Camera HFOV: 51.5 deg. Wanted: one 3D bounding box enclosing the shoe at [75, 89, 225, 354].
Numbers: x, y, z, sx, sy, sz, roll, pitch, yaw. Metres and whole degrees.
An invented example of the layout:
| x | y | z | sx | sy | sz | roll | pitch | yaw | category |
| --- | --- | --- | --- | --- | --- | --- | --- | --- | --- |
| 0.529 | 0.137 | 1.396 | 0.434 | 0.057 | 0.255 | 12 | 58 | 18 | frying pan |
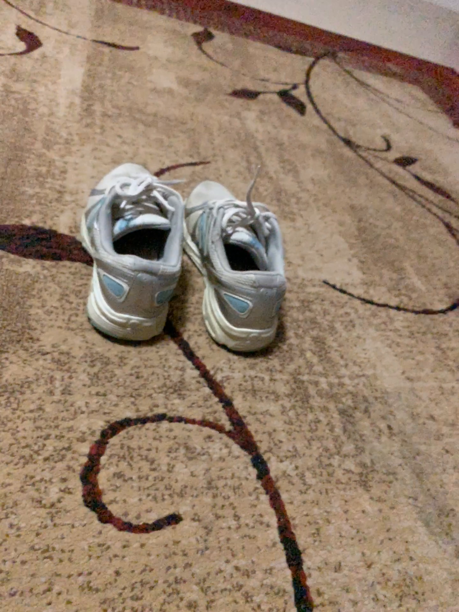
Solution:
| x | y | z | sx | sy | sz | roll | pitch | yaw | category |
| --- | --- | --- | --- | --- | --- | --- | --- | --- | --- |
| -0.097 | -0.101 | 0.515 | 0.111 | 0.124 | 0.285 | 5 | 45 | -19 | shoe |

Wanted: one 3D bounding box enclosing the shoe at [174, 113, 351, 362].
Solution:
| x | y | z | sx | sy | sz | roll | pitch | yaw | category |
| --- | --- | --- | --- | --- | --- | --- | --- | --- | --- |
| 0.016 | -0.088 | 0.548 | 0.104 | 0.124 | 0.285 | 4 | 46 | -20 | shoe |
